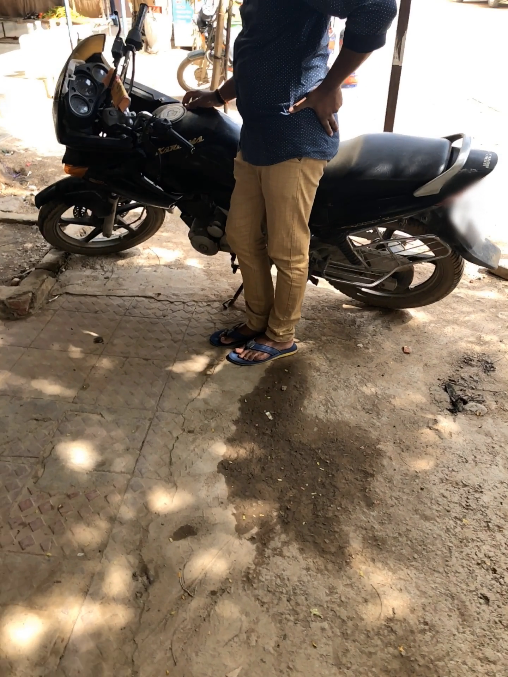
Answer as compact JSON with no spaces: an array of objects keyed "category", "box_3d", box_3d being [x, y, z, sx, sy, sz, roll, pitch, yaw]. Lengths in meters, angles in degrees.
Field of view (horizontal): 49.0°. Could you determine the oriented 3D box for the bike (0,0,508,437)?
[{"category":"bike","box_3d":[-0.193,-0.531,2.020,1.889,1.177,0.802,10,35,10]}]
